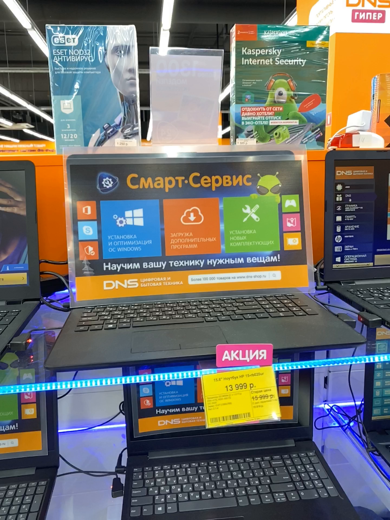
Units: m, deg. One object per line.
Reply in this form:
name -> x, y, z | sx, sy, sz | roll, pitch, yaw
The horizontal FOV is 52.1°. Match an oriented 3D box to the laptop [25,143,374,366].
laptop -> 0.001, -0.034, 0.576 | 0.377, 0.235, 0.262 | -3, 12, -6
